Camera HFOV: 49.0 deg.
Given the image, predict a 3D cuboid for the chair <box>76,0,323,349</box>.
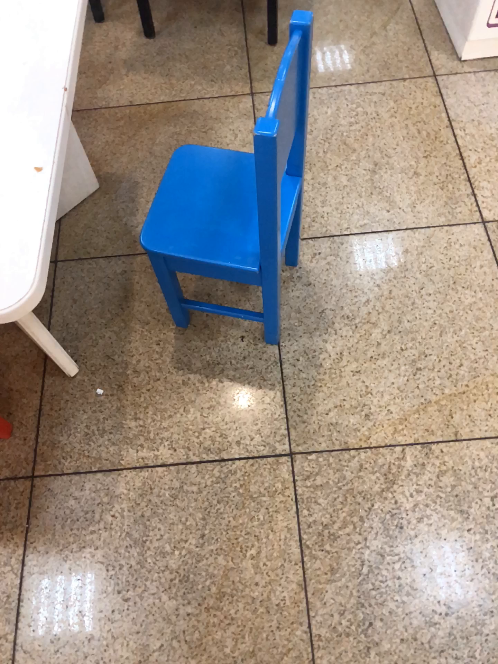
[{"bbox_3d":[-0.048,-0.264,1.093,0.300,0.639,0.300,10,64,8],"label":"chair"}]
